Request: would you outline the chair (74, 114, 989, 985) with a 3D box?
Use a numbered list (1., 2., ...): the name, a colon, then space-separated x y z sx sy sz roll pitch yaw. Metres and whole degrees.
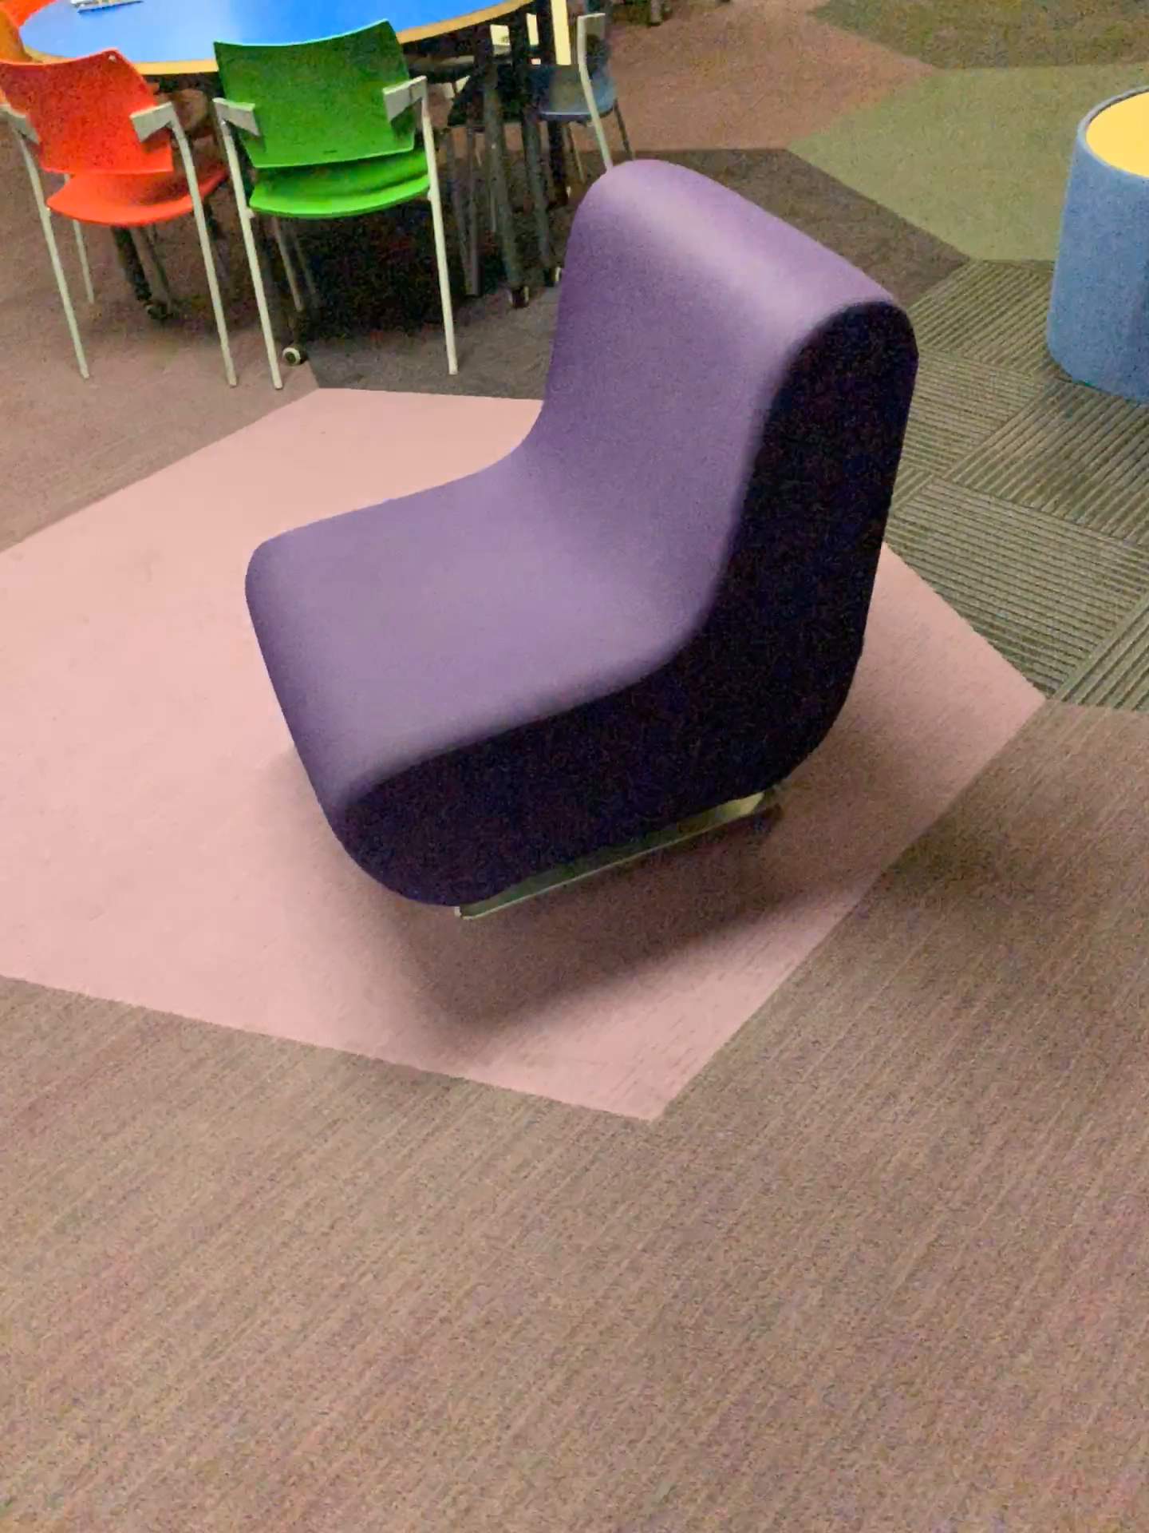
1. chair: -0.091 -0.347 1.551 0.821 0.614 0.807 -21 45 -13
